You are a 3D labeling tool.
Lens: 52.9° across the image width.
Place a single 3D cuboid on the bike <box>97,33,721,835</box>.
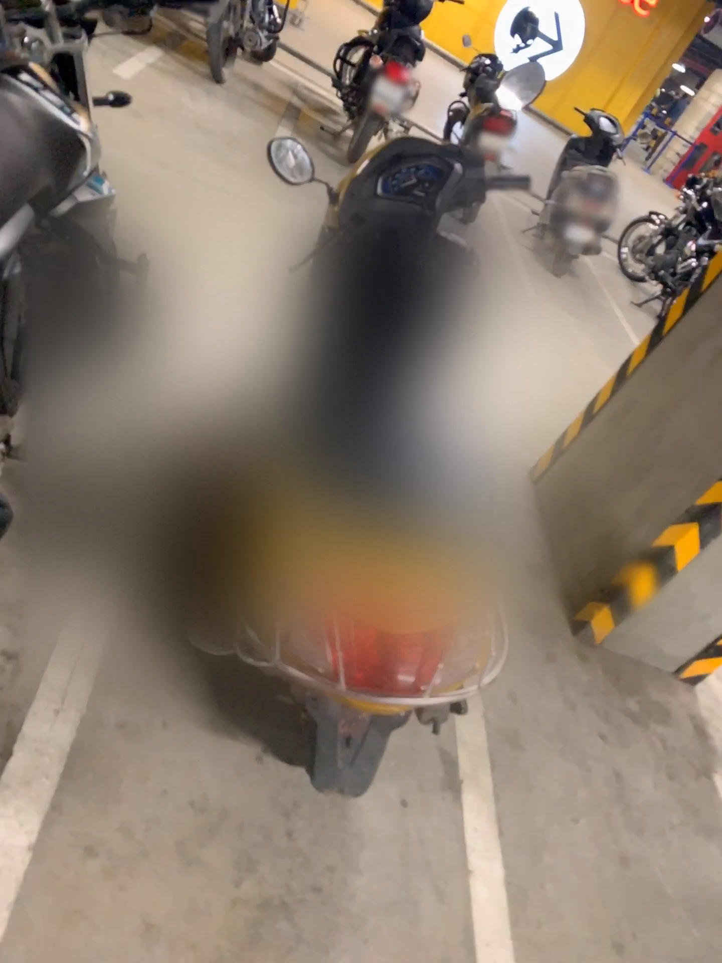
[{"bbox_3d":[-0.050,-0.222,1.652,0.569,0.993,1.527,19,36,-22],"label":"bike"}]
